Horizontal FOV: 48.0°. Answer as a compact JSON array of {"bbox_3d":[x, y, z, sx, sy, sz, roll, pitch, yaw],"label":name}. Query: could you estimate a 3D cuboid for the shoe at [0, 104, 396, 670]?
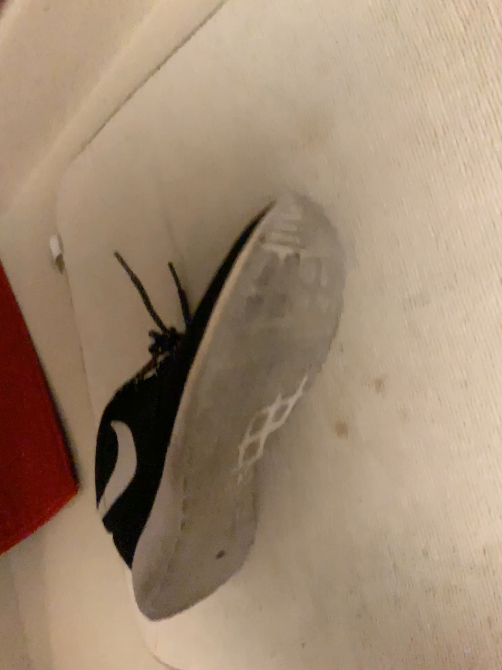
[{"bbox_3d":[-0.062,0.028,0.347,0.180,0.100,0.270,34,114,37],"label":"shoe"}]
